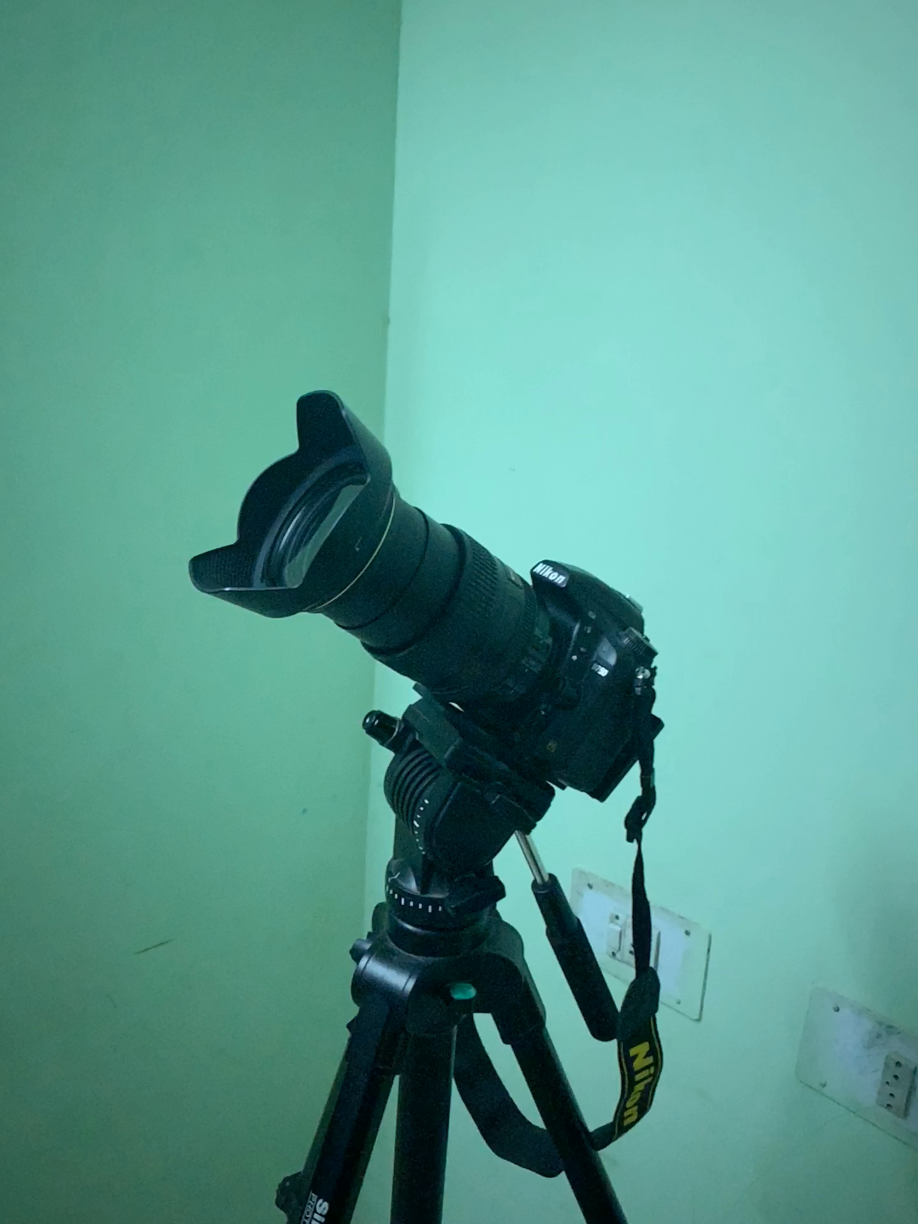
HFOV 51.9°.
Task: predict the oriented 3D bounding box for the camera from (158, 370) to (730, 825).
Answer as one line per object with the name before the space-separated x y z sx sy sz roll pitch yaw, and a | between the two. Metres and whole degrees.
camera | -0.007 -0.007 0.515 0.247 0.120 0.152 30 0 -33
